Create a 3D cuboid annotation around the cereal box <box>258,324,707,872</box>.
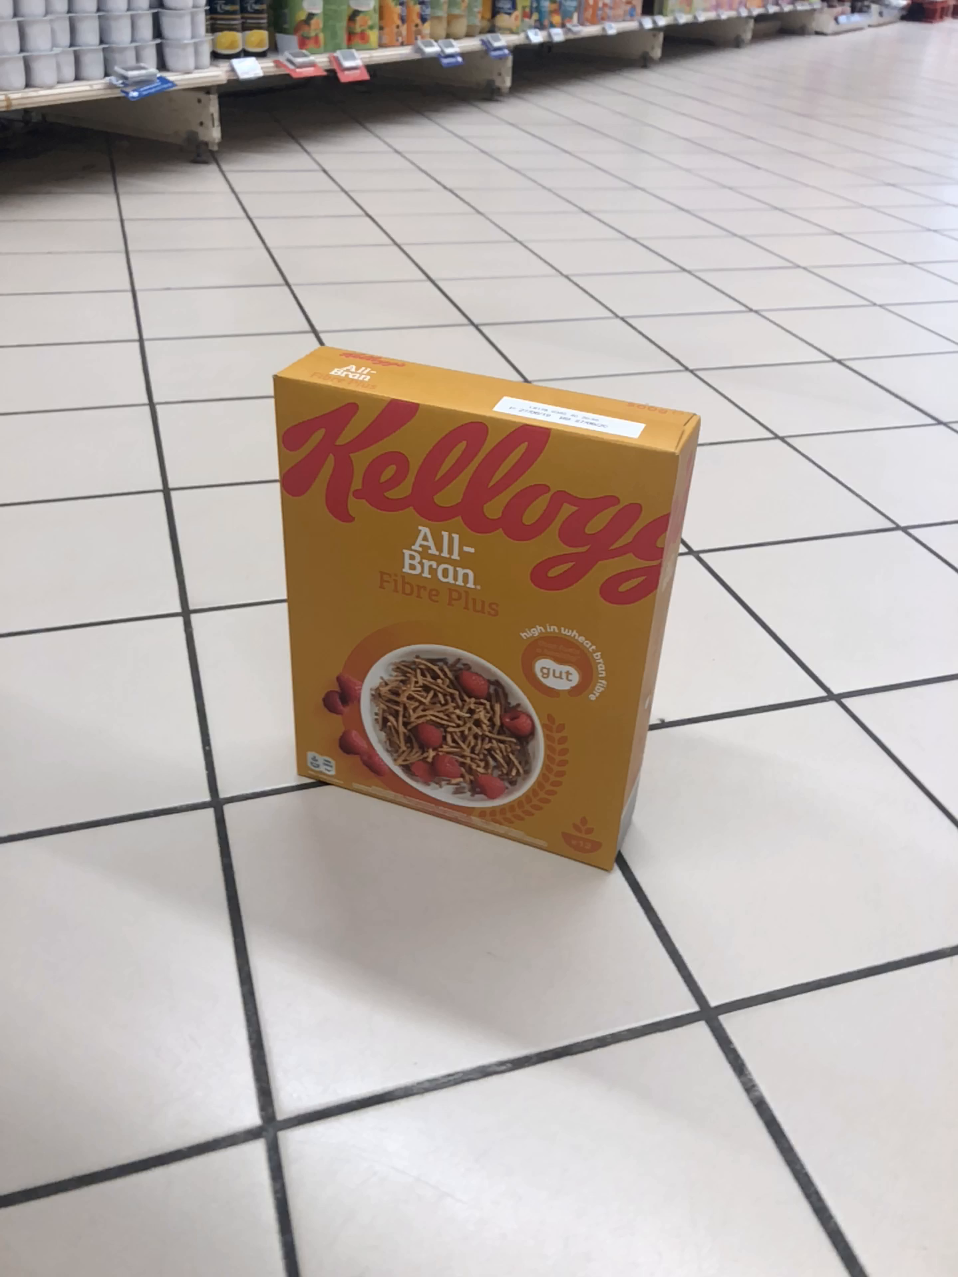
[{"bbox_3d":[-0.003,-0.017,0.530,0.190,0.239,0.060,14,34,18],"label":"cereal box"}]
